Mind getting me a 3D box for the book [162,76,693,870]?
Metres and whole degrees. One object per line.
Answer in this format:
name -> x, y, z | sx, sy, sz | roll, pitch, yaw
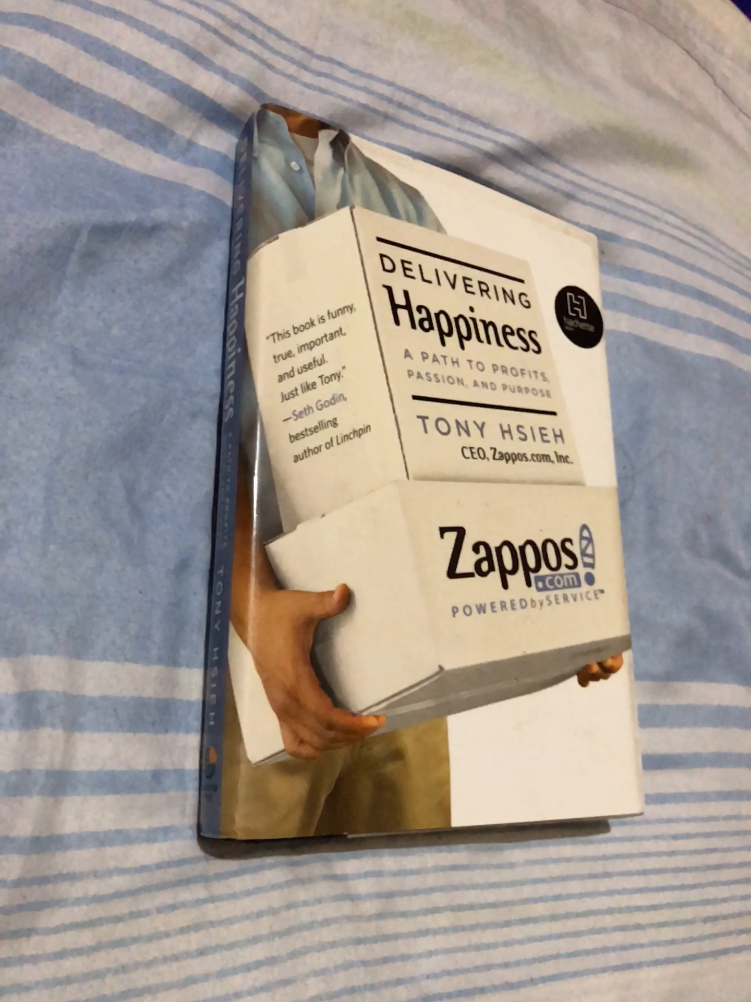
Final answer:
book -> 0.022, -0.006, 0.303 | 0.171, 0.050, 0.240 | 9, 70, -30
